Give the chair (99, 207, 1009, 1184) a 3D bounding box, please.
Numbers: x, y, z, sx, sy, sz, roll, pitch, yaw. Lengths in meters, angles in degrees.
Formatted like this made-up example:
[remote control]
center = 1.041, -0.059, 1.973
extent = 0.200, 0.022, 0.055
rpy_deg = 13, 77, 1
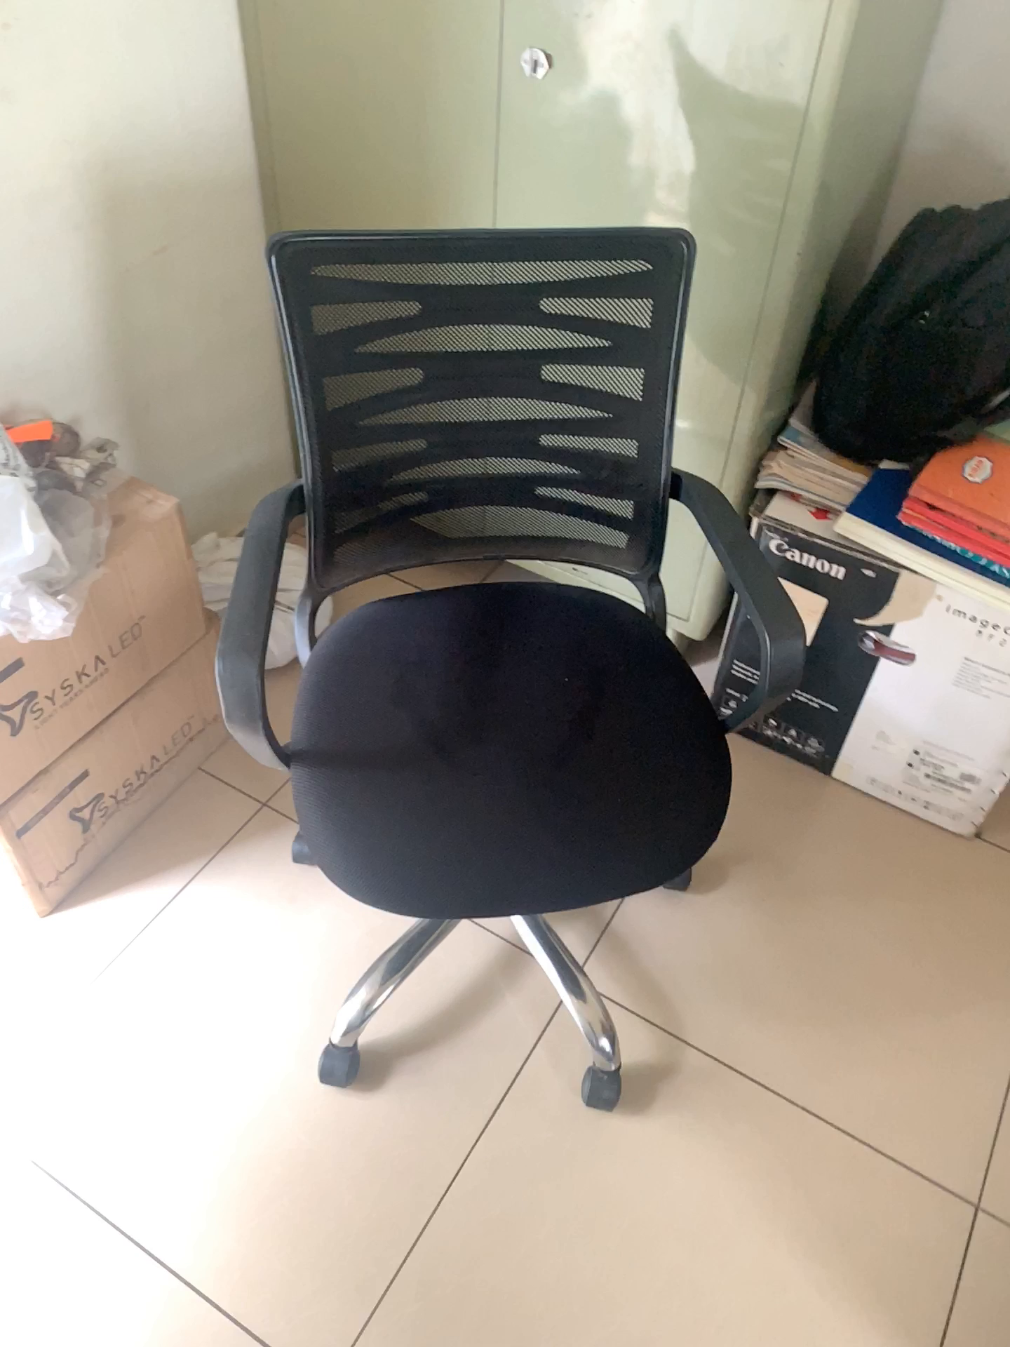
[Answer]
[chair]
center = 0.001, 0.065, 1.281
extent = 0.680, 0.997, 0.652
rpy_deg = -5, 46, -9
